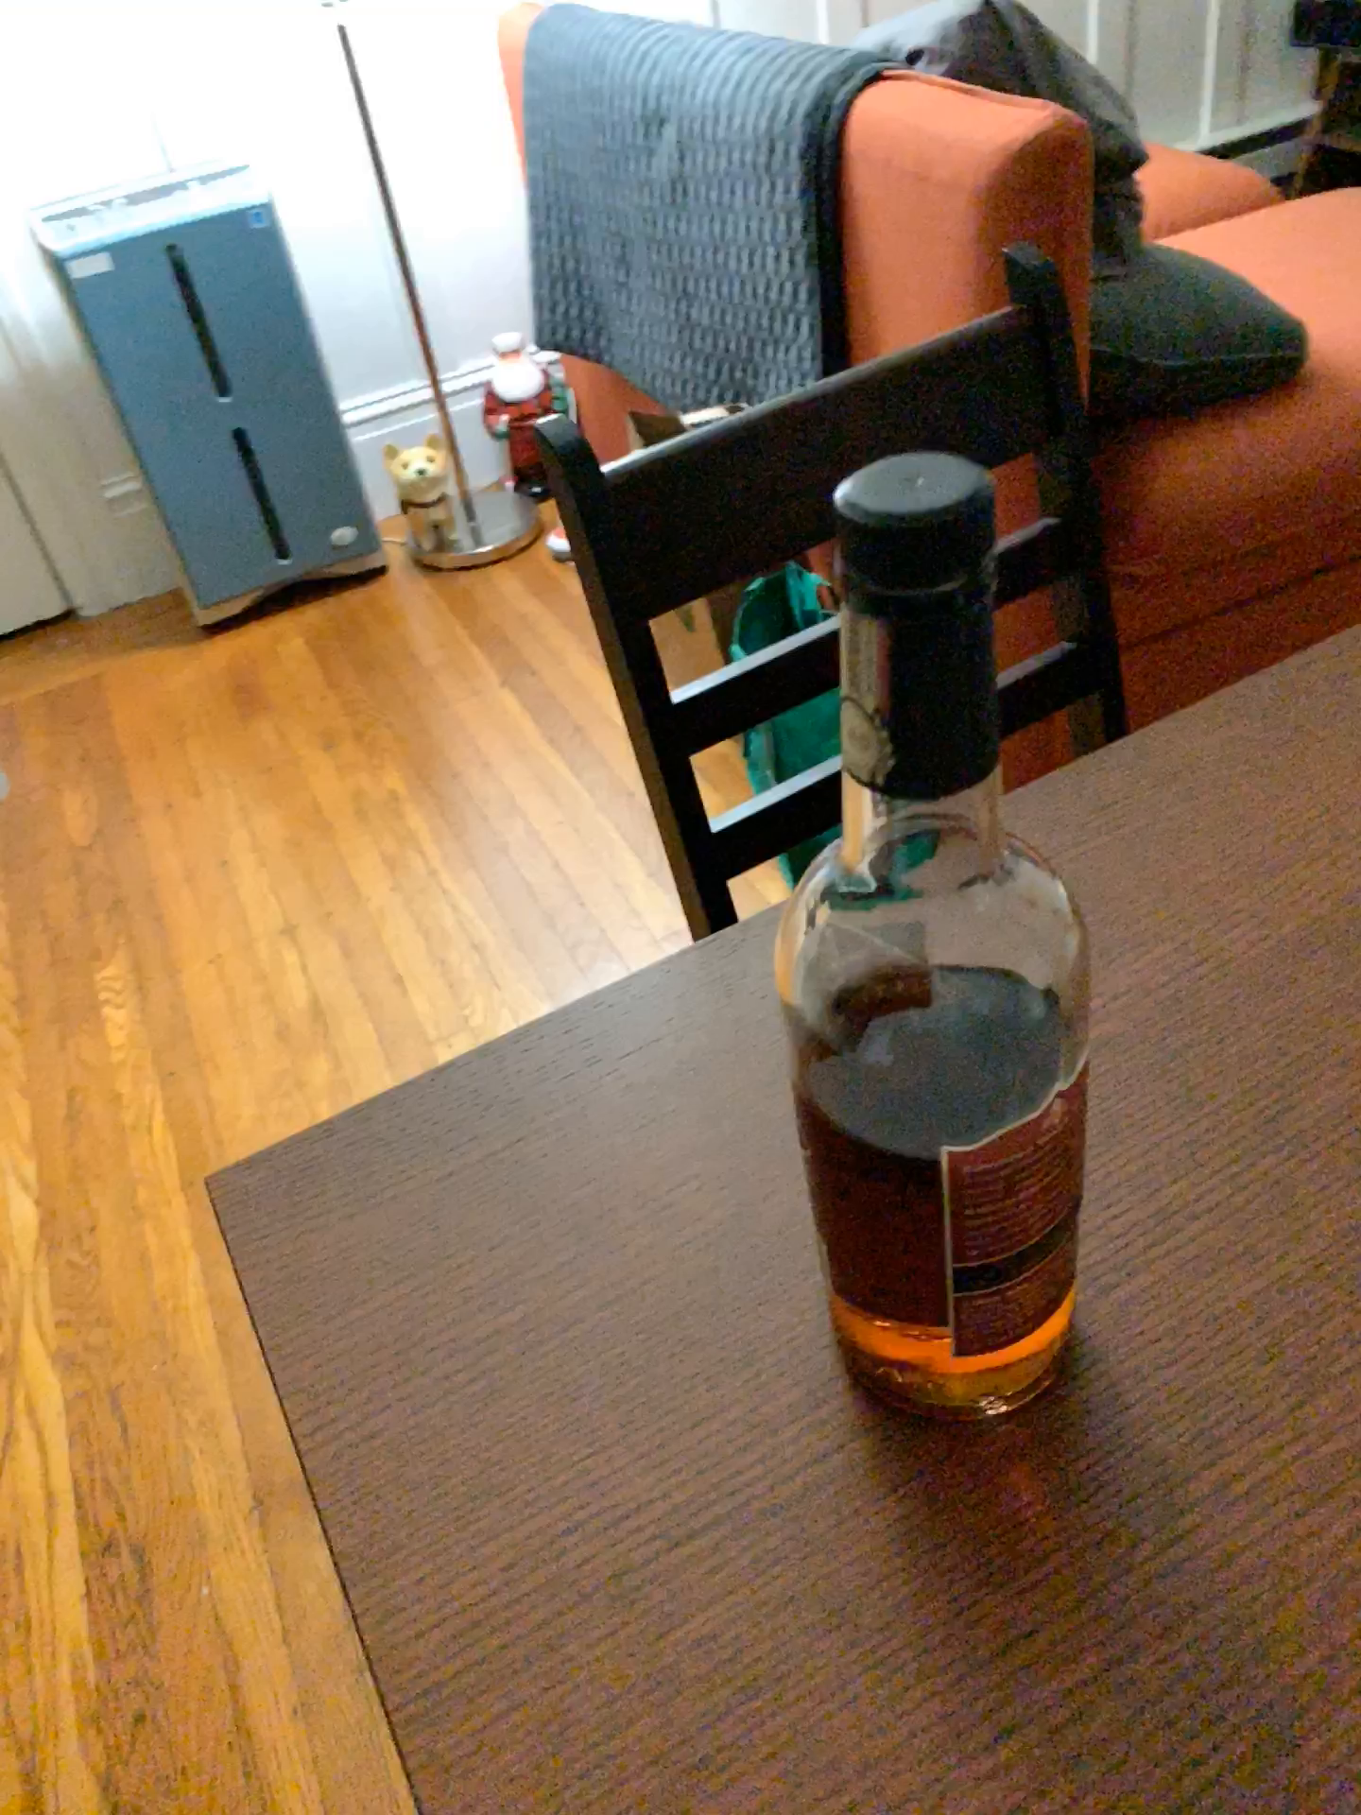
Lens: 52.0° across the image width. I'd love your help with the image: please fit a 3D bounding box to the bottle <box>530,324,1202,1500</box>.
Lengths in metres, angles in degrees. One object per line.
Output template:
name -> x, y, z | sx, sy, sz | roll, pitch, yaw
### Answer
bottle -> 0.055, 0.020, 0.358 | 0.090, 0.288, 0.090 | -7, 40, 6
